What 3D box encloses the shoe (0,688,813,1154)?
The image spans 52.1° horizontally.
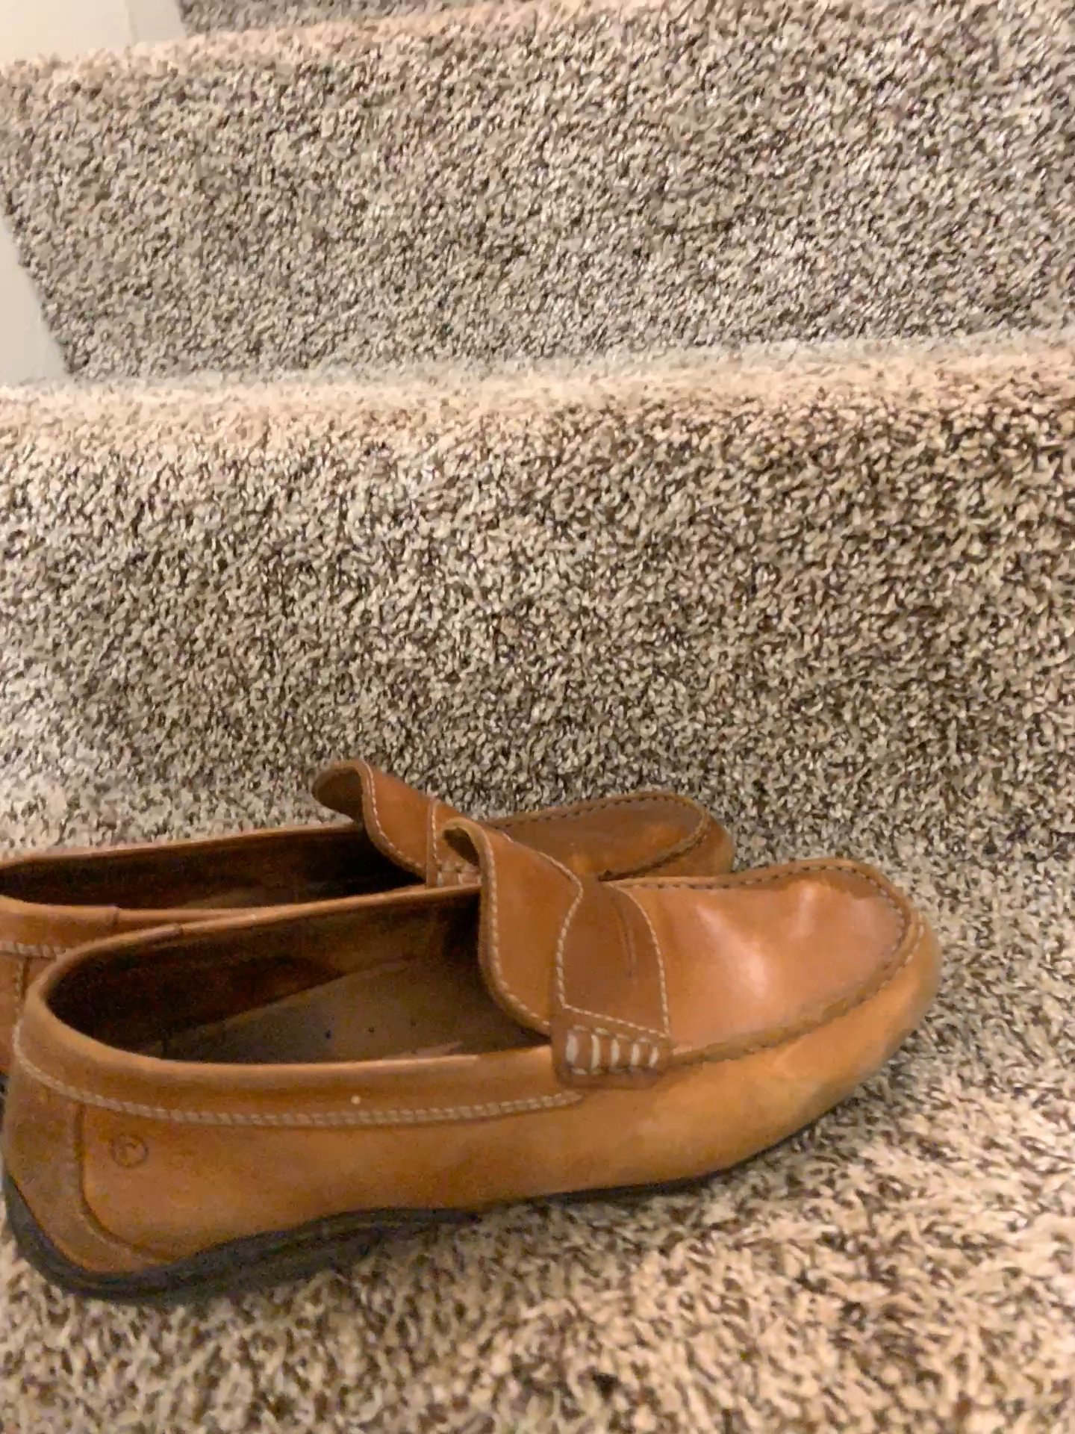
[{"bbox_3d":[-0.055,0.057,0.378,0.280,0.070,0.090,-9,21,-15],"label":"shoe"}]

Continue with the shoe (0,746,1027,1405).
[{"bbox_3d":[-0.017,0.084,0.329,0.280,0.070,0.120,-9,21,-15],"label":"shoe"}]
